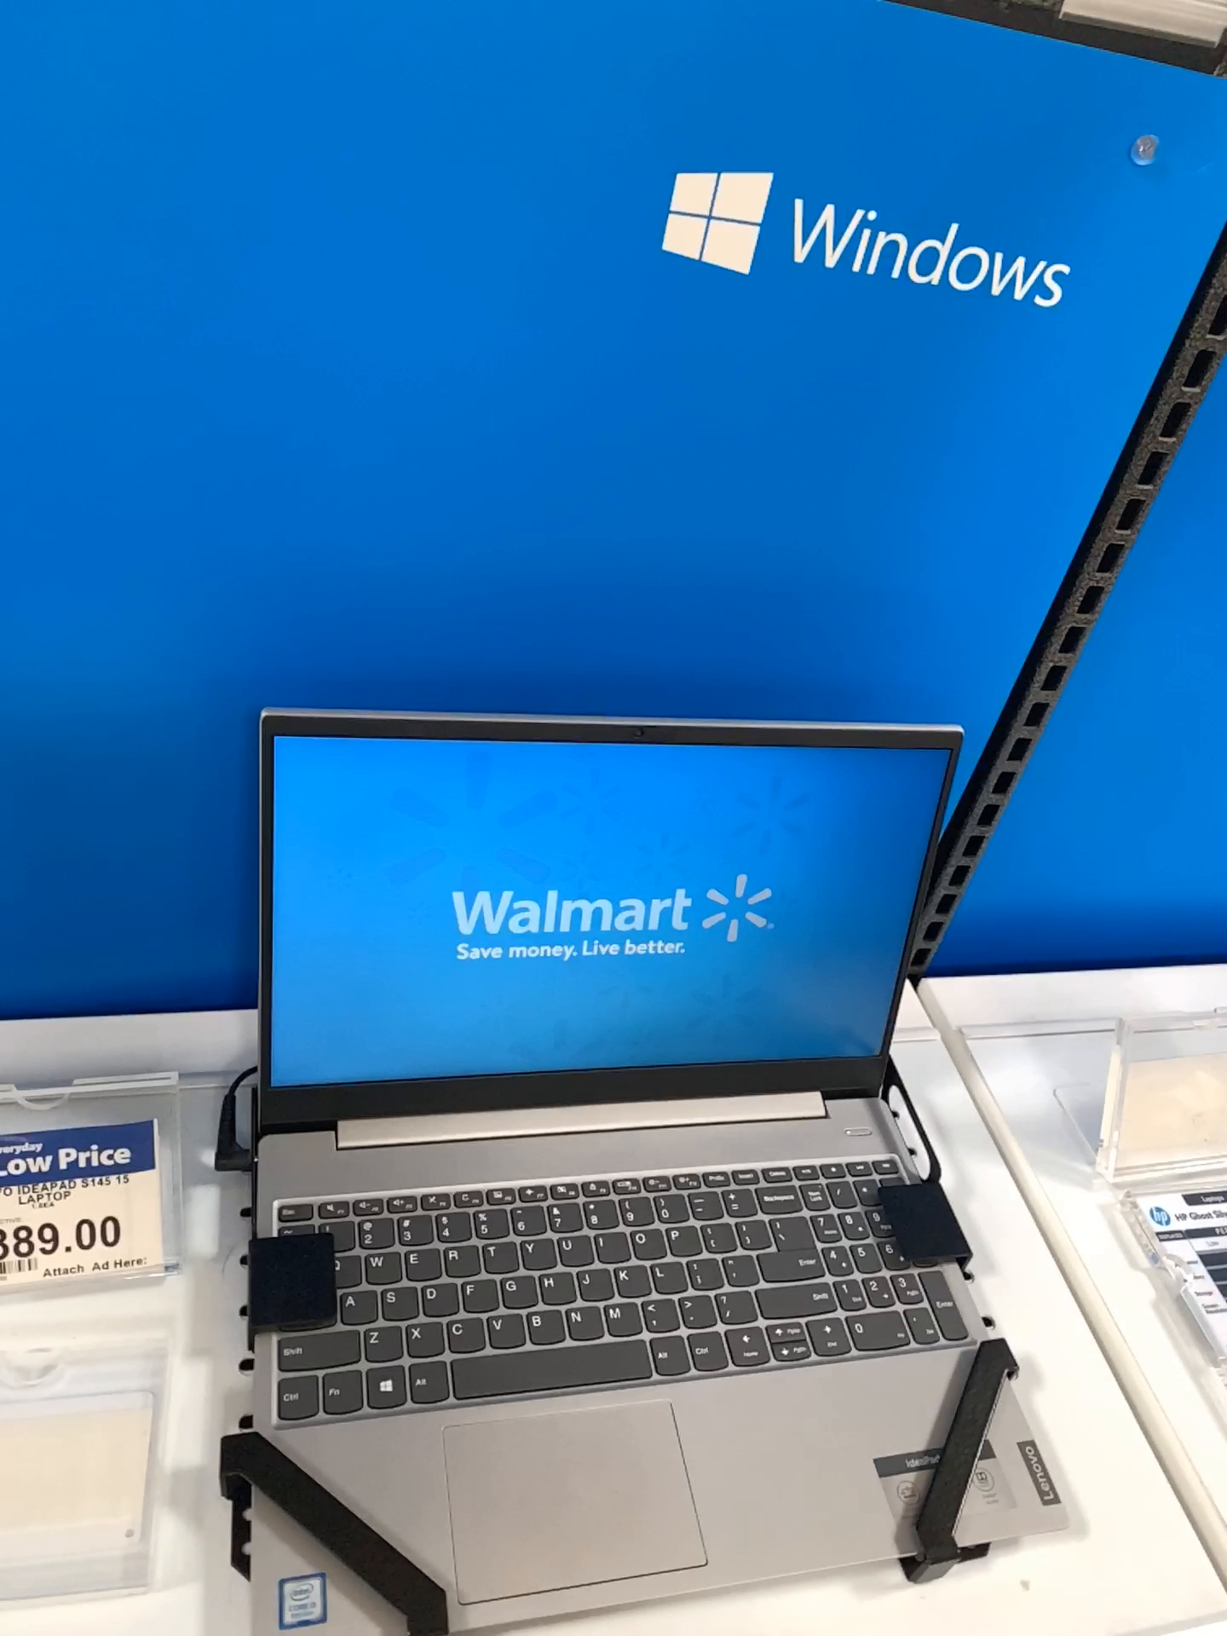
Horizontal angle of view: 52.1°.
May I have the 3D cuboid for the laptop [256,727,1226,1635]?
[{"bbox_3d":[0.027,0.136,0.559,0.350,0.217,0.299,0,41,-15],"label":"laptop"}]
